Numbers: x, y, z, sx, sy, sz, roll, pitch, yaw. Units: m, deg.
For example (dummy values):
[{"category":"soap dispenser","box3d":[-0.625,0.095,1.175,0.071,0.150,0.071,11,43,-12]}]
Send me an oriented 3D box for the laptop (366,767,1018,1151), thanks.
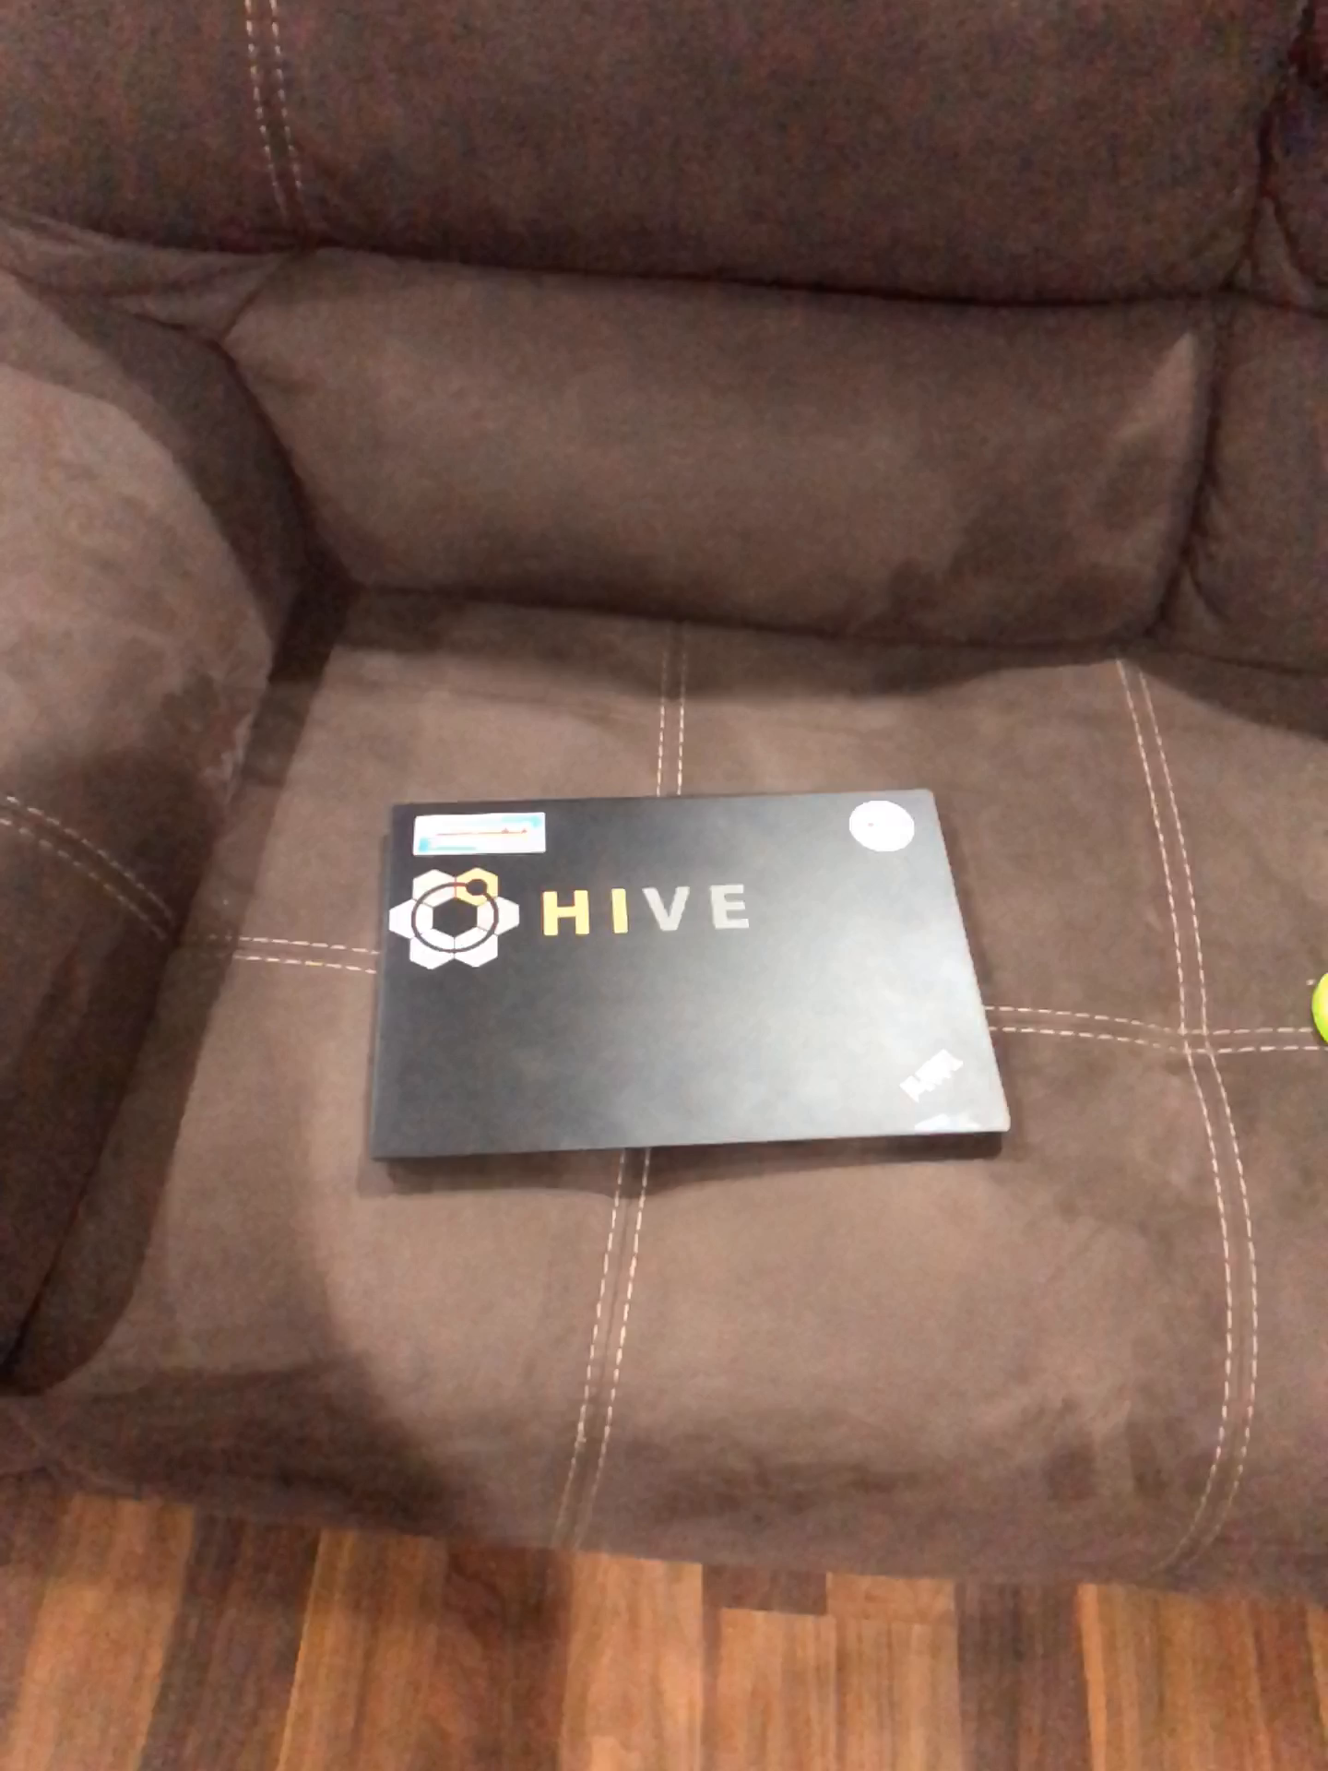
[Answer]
[{"category":"laptop","box3d":[0.009,0.032,0.813,0.328,0.019,0.236,-2,52,-2]}]
